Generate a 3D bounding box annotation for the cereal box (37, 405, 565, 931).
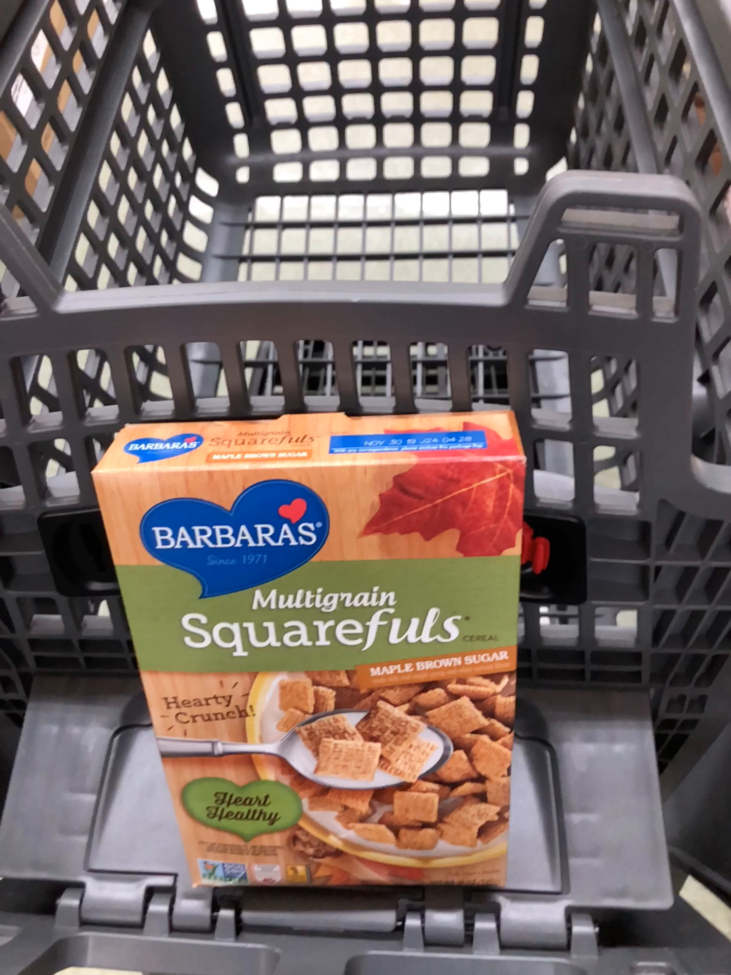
[{"bbox_3d":[-0.017,0.096,0.378,0.190,0.260,0.060,-1,29,4],"label":"cereal box"}]
